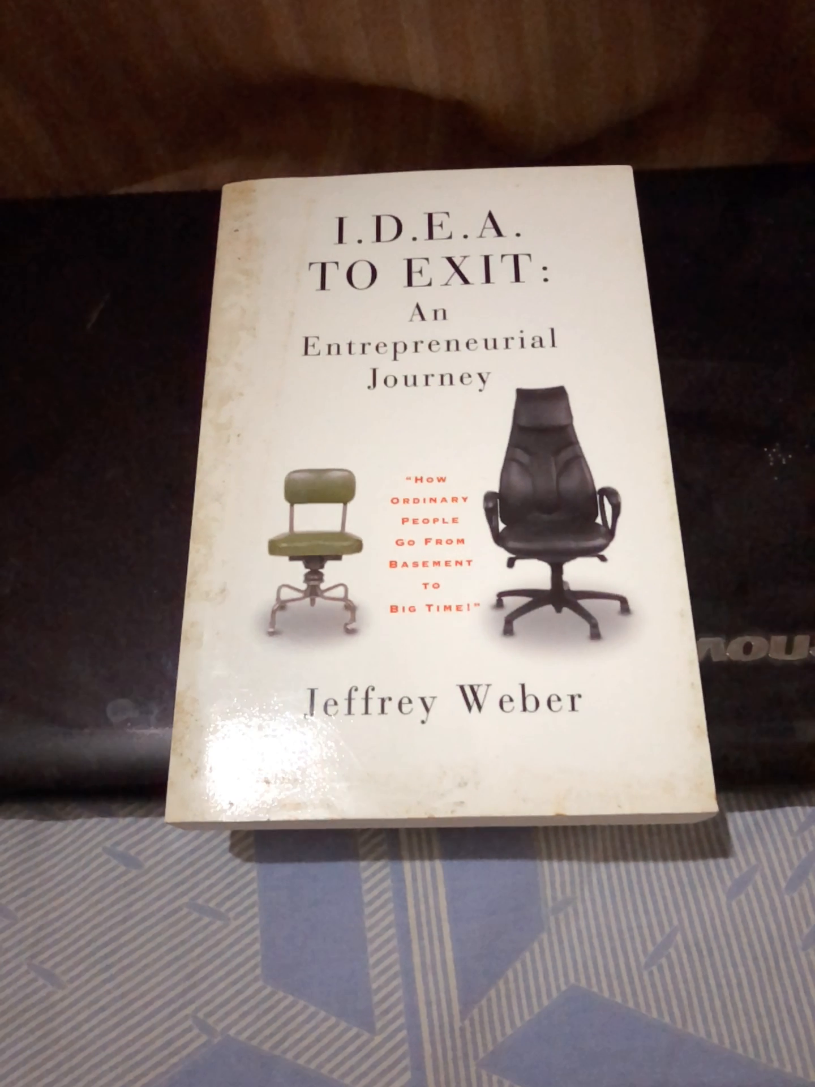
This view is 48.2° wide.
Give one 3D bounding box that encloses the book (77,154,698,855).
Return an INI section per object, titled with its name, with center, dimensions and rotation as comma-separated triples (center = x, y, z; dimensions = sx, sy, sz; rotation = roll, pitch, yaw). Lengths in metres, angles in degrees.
[book]
center = -0.007, -0.027, 0.300
dimensions = 0.160, 0.030, 0.240
rotation = -2, 64, 2
